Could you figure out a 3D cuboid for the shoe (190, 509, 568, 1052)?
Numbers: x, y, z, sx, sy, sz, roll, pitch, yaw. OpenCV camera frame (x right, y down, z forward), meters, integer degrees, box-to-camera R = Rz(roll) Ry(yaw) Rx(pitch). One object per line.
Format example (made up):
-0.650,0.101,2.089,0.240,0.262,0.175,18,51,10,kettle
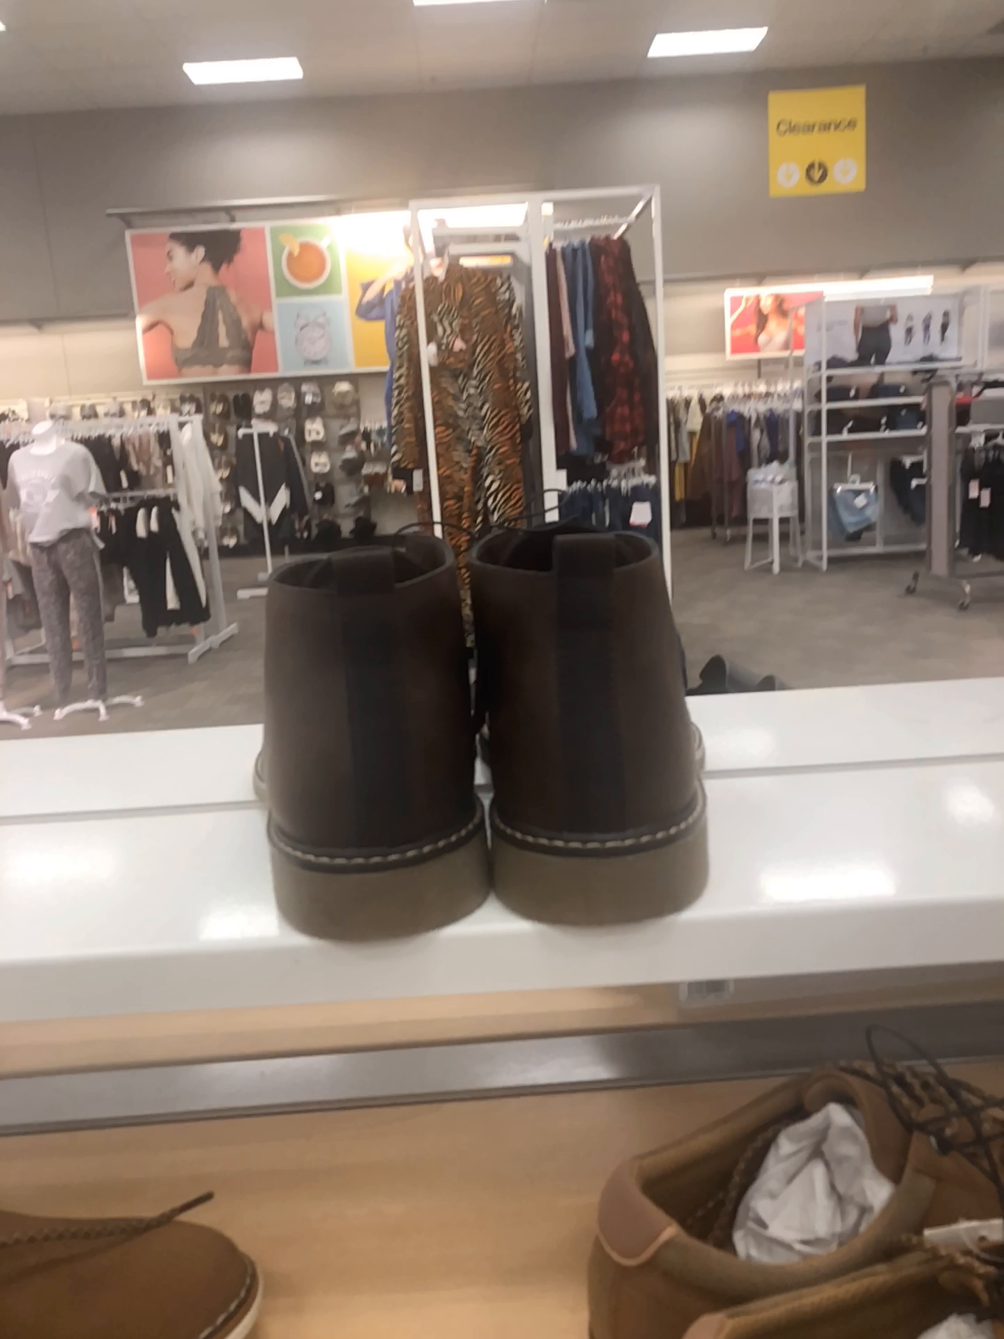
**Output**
-0.061,0.019,0.542,0.127,0.173,0.315,-2,12,-8,shoe

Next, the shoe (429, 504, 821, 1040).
0.052,0.017,0.543,0.132,0.173,0.315,0,12,4,shoe
